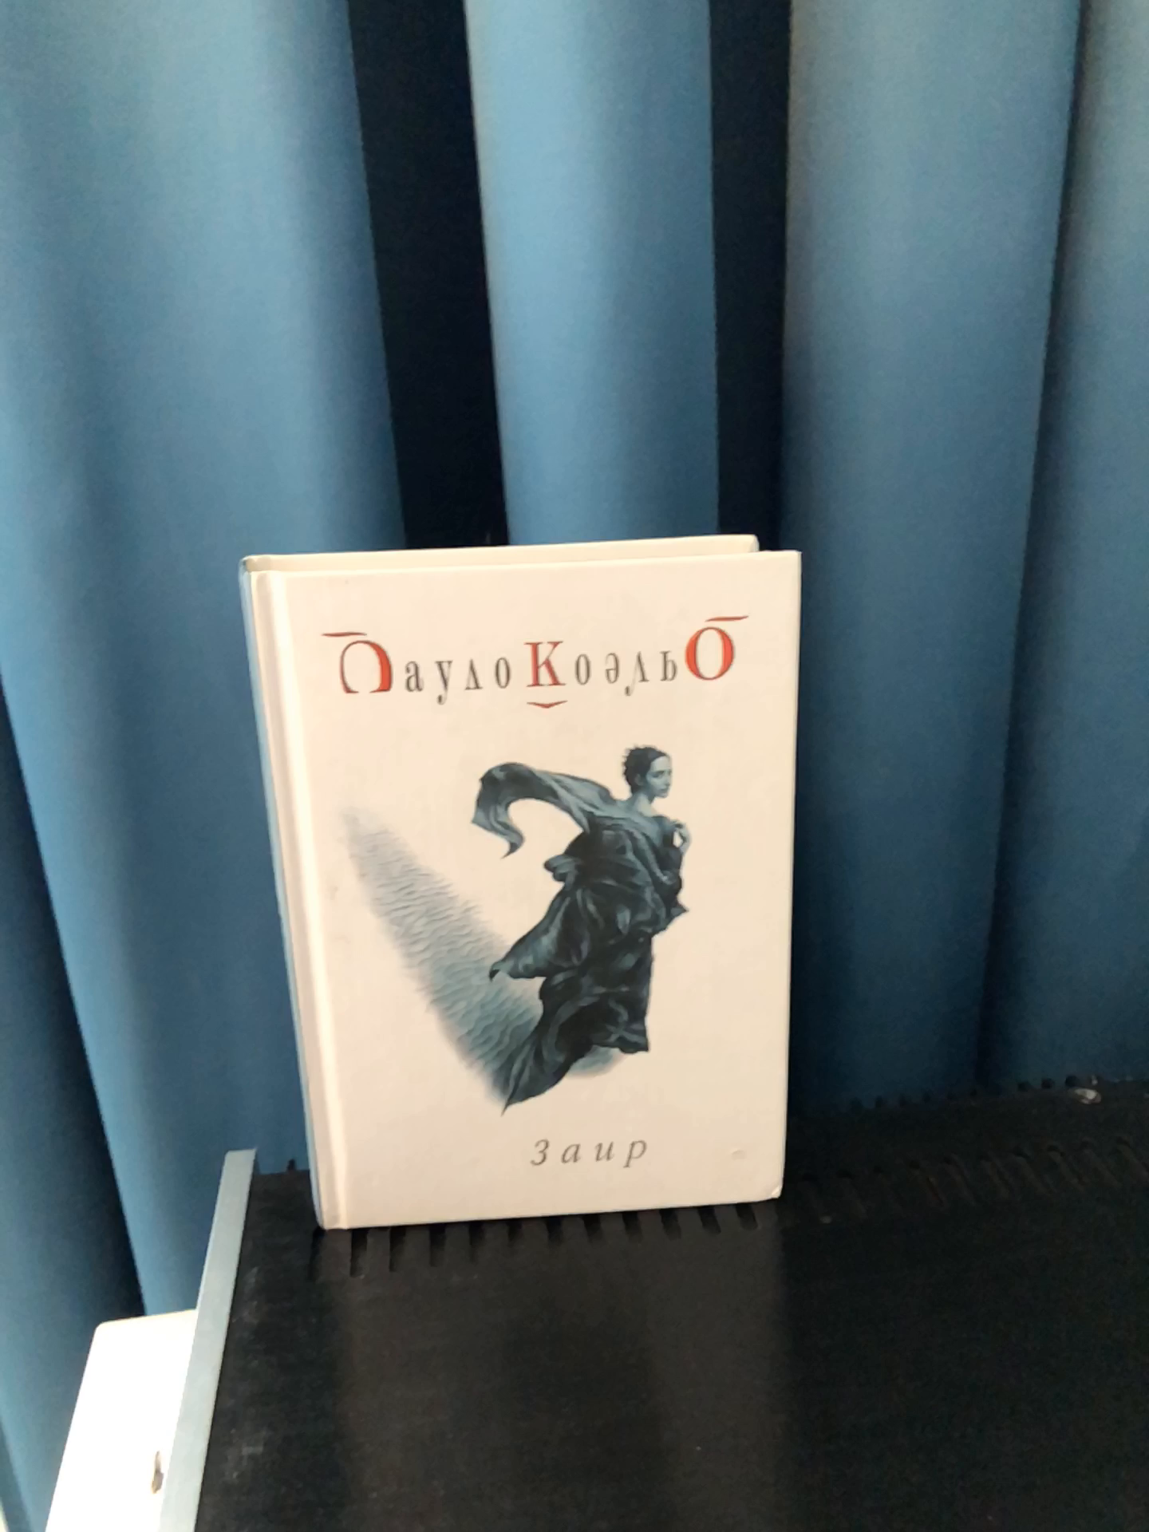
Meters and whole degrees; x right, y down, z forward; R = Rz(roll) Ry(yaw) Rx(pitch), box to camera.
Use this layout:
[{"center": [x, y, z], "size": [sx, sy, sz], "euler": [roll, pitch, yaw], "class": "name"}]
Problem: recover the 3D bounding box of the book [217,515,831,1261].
[{"center": [-0.007, 0.034, 0.313], "size": [0.130, 0.179, 0.030], "euler": [-3, 20, -1], "class": "book"}]
